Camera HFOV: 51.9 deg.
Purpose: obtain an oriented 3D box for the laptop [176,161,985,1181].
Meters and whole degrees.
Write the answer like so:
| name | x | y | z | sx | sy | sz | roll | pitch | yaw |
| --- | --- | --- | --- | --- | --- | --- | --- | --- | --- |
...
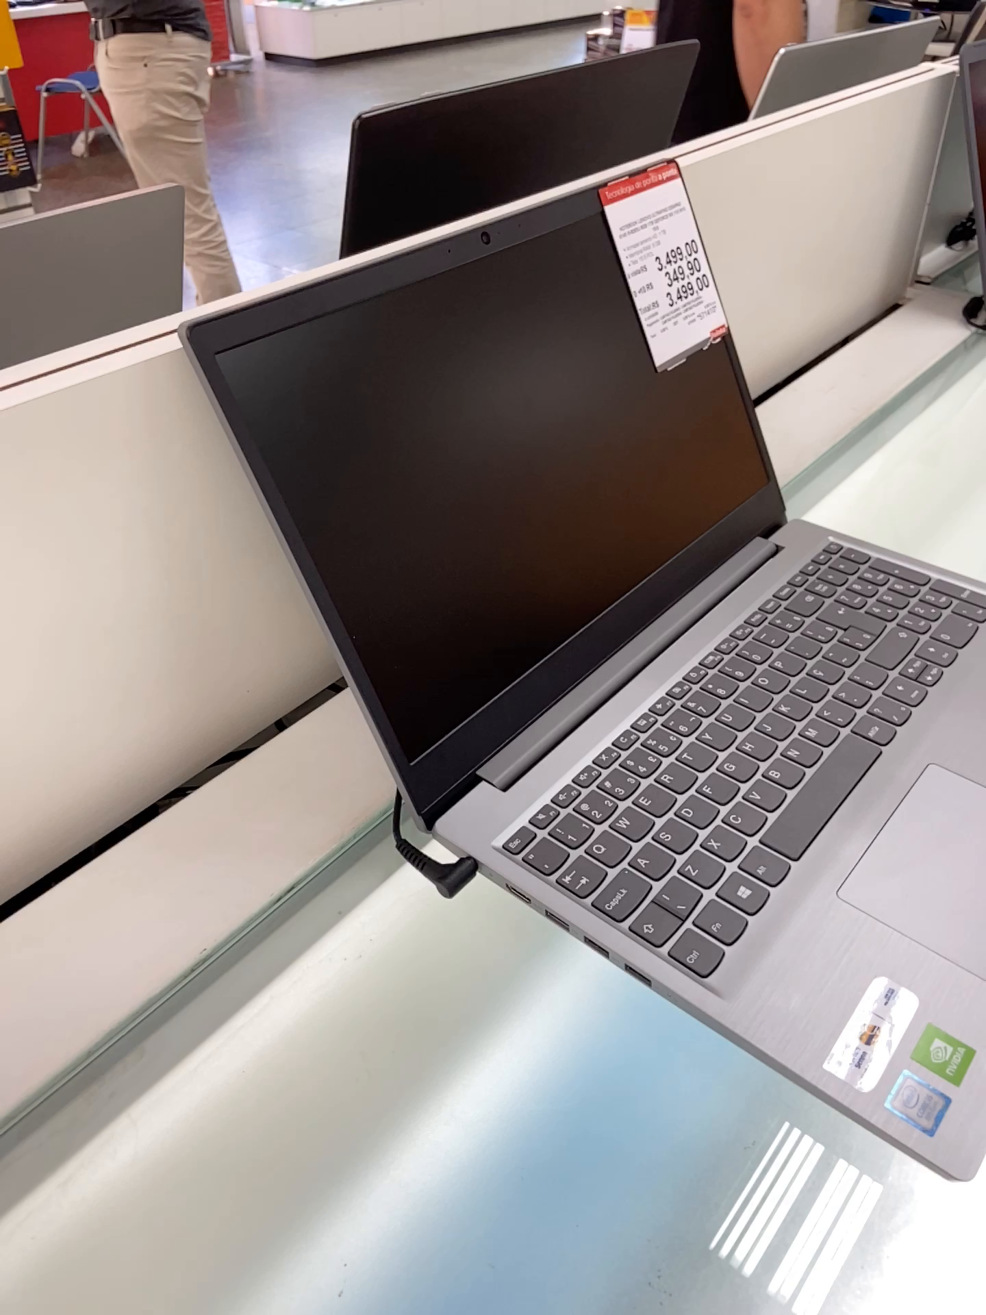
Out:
| name | x | y | z | sx | sy | sz | roll | pitch | yaw |
| --- | --- | --- | --- | --- | --- | --- | --- | --- | --- |
| laptop | 0.133 | -0.064 | 0.474 | 0.366 | 0.201 | 0.361 | 27 | 46 | 31 |
